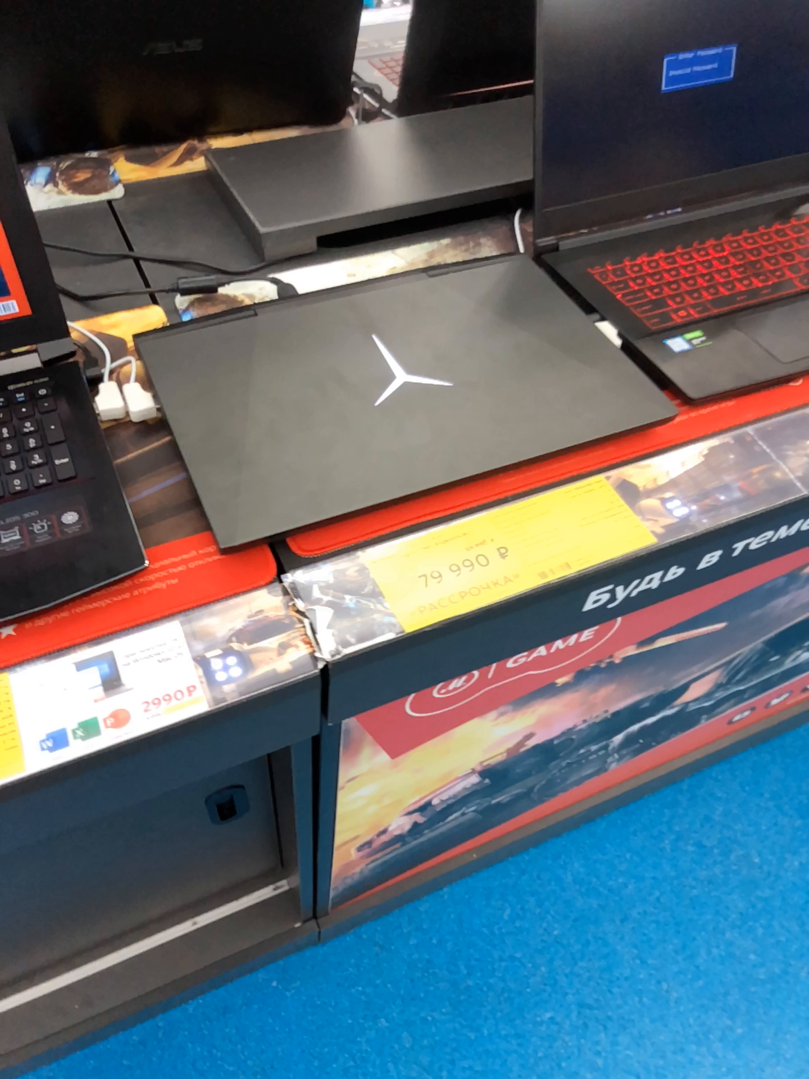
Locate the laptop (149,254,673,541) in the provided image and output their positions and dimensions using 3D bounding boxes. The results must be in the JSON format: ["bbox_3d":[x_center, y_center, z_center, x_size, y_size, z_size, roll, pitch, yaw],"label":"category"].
[{"bbox_3d":[0.000,-0.130,0.701,0.344,0.007,0.227,-18,51,-17],"label":"laptop"}]
